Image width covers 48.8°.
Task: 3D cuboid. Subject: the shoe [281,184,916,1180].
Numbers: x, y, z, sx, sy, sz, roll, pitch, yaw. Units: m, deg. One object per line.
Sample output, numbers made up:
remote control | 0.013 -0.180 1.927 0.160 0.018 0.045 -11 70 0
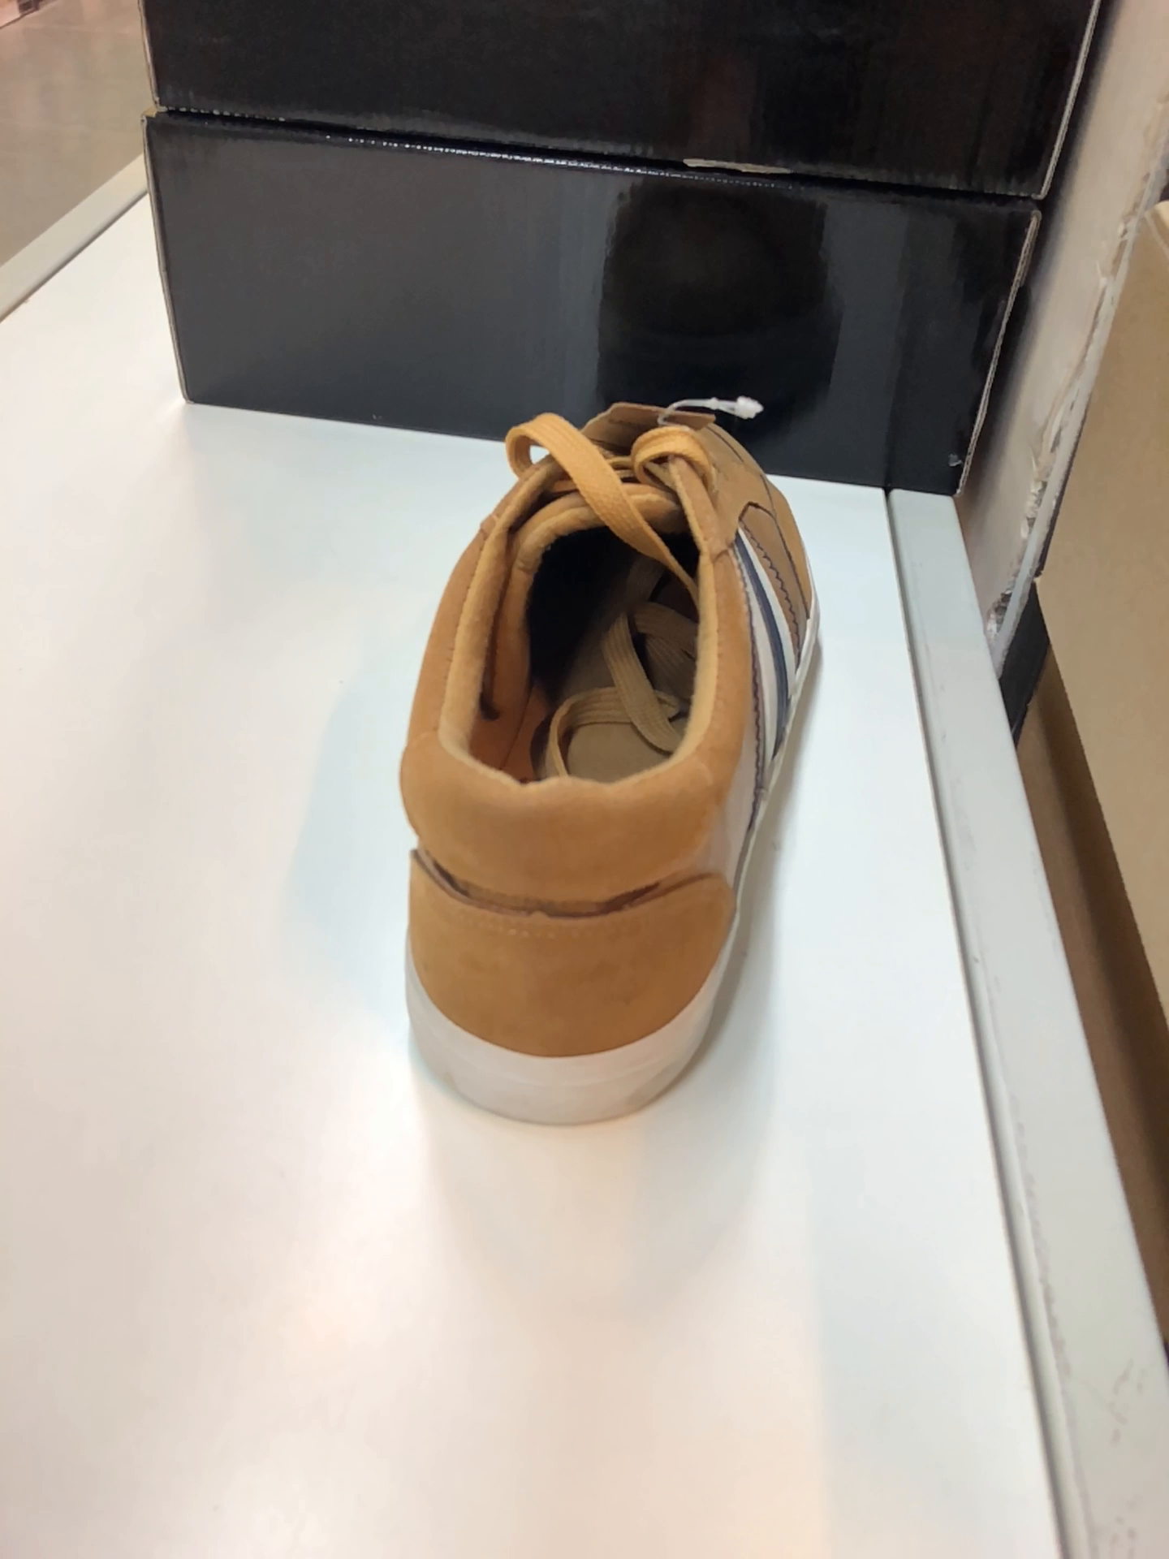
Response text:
shoe | 0.020 -0.057 0.354 0.104 0.104 0.296 8 42 4
